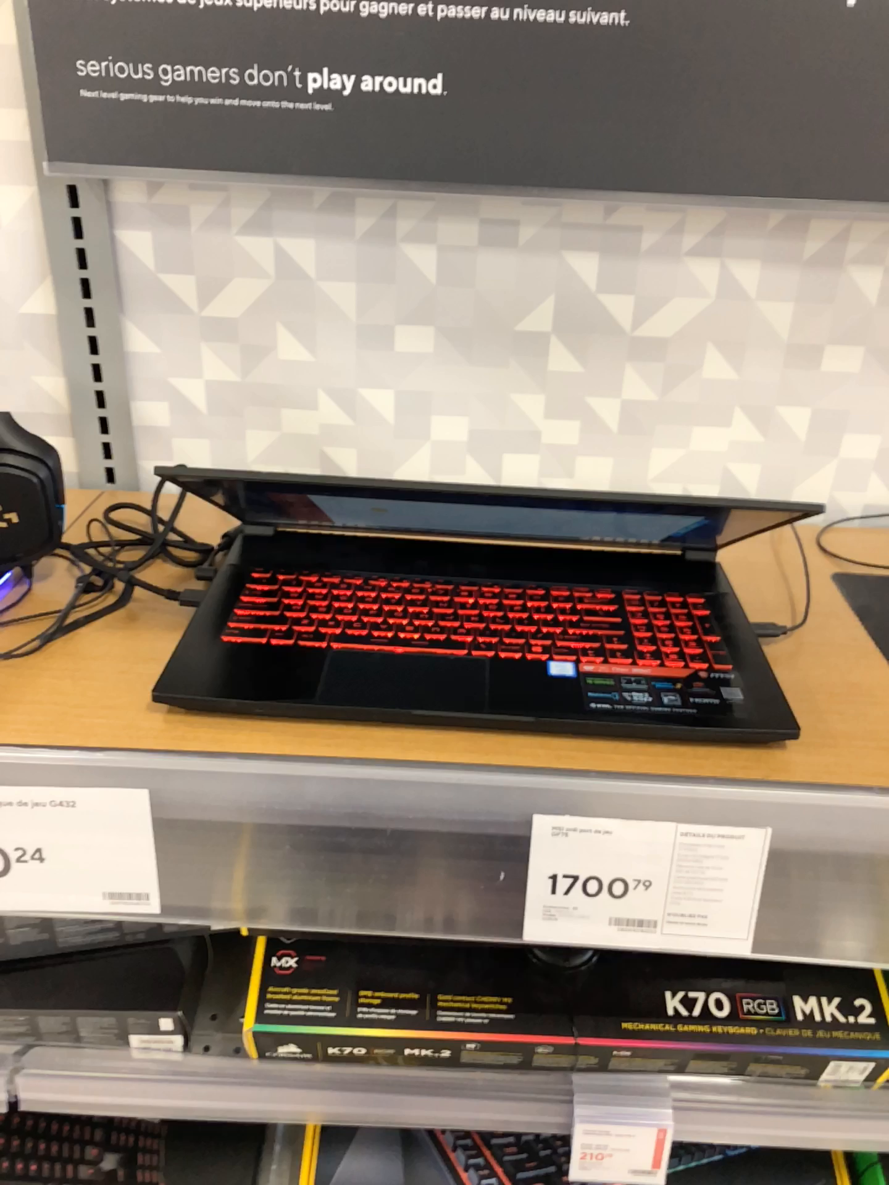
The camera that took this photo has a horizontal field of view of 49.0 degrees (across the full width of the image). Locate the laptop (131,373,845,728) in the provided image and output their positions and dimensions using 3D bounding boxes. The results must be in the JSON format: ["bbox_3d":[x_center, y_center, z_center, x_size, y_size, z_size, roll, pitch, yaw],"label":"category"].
[{"bbox_3d":[0.025,-0.044,0.678,0.393,0.133,0.249,3,28,1],"label":"laptop"}]
